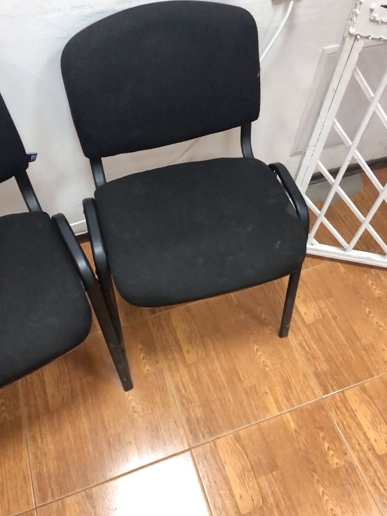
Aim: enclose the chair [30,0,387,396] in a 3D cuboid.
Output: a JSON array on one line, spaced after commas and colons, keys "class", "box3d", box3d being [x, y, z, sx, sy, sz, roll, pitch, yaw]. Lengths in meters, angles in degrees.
[{"class": "chair", "box3d": [0.010, -0.110, 1.013, 0.520, 0.748, 0.511, -14, 57, -13]}]
